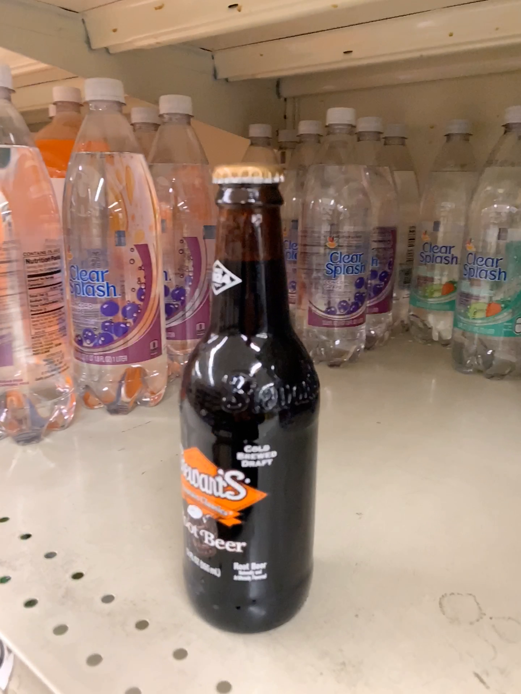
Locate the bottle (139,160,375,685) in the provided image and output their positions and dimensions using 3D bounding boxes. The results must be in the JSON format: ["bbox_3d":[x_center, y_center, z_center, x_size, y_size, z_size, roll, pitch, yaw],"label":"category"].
[{"bbox_3d":[-0.003,0.028,0.237,0.060,0.207,0.070,-15,23,-40],"label":"bottle"}]
